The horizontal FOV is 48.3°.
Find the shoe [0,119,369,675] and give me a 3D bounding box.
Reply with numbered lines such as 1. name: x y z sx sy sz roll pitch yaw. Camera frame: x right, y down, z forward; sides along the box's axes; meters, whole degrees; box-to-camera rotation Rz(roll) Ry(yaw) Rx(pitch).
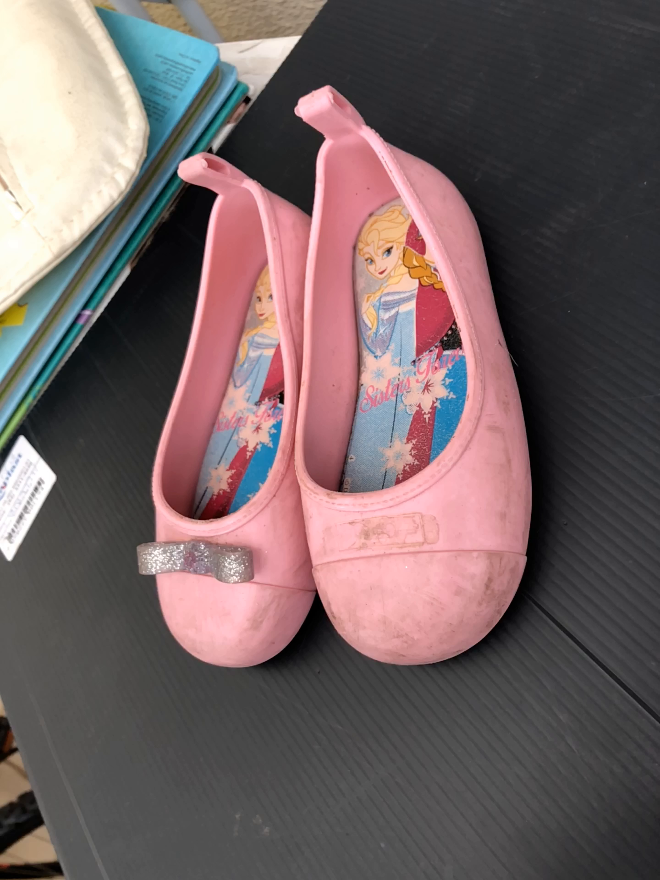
1. shoe: -0.045 -0.009 0.252 0.078 0.070 0.160 -1 75 32

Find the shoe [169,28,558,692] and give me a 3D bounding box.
1. shoe: 0.013 -0.015 0.214 0.078 0.070 0.160 -8 72 30
